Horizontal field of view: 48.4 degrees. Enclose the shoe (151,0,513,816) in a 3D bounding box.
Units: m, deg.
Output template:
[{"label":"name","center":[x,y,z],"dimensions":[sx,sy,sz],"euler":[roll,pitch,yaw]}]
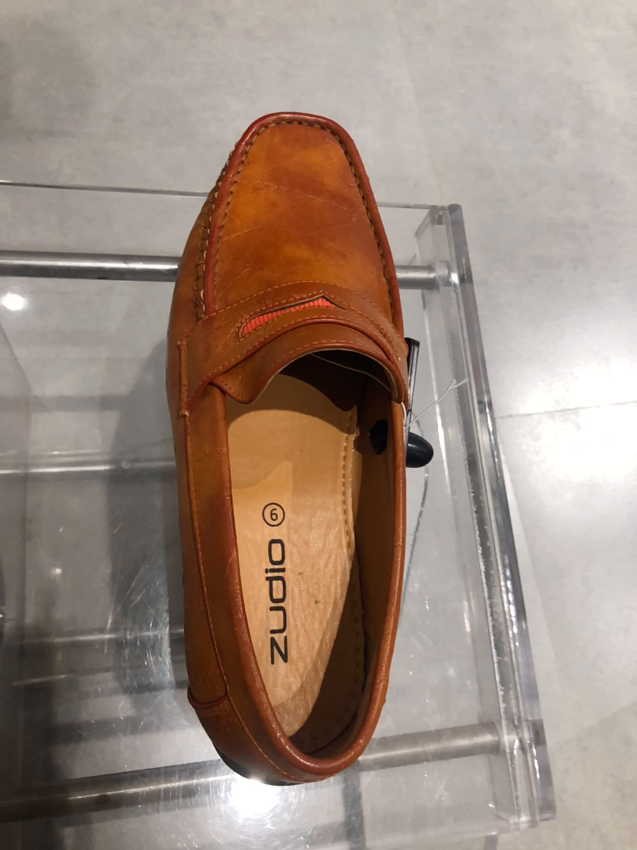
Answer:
[{"label":"shoe","center":[-0.009,-0.016,0.293],"dimensions":[0.110,0.090,0.291],"euler":[1,73,-12]}]
